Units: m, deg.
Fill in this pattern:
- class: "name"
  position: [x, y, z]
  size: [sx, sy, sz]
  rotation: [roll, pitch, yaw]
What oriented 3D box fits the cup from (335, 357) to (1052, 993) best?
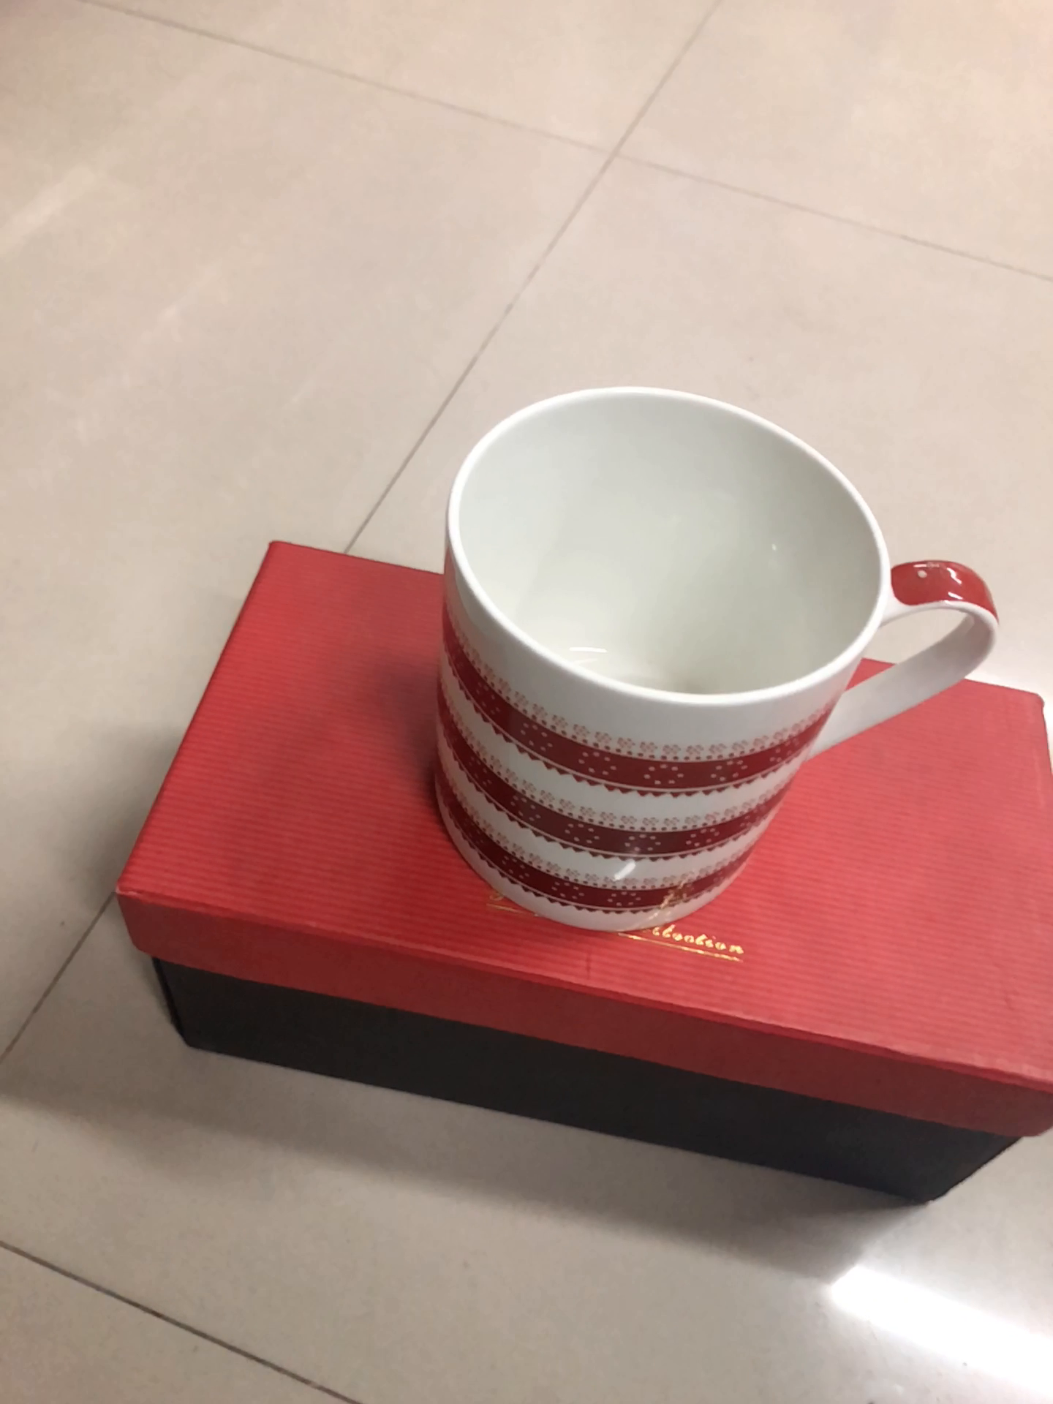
- class: "cup"
  position: [0.031, -0.001, 0.254]
  size: [0.130, 0.099, 0.080]
  rotation: [6, 52, -3]
